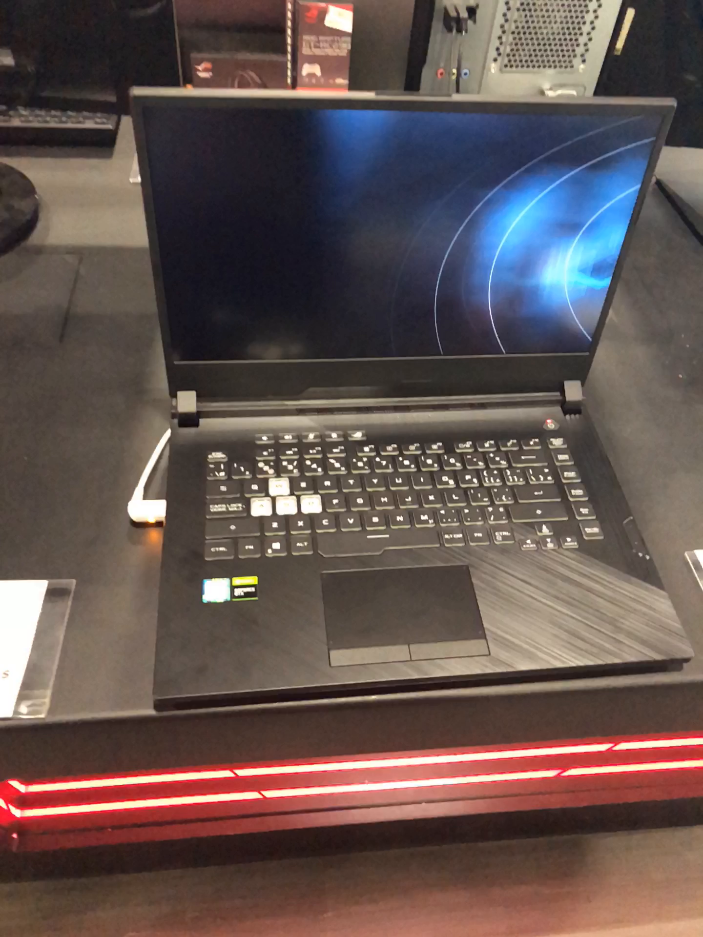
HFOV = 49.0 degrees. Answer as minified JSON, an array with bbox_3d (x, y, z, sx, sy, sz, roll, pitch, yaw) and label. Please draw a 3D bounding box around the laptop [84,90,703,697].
[{"bbox_3d":[0.048,-0.051,0.491,0.350,0.243,0.281,-2,49,-7],"label":"laptop"}]
